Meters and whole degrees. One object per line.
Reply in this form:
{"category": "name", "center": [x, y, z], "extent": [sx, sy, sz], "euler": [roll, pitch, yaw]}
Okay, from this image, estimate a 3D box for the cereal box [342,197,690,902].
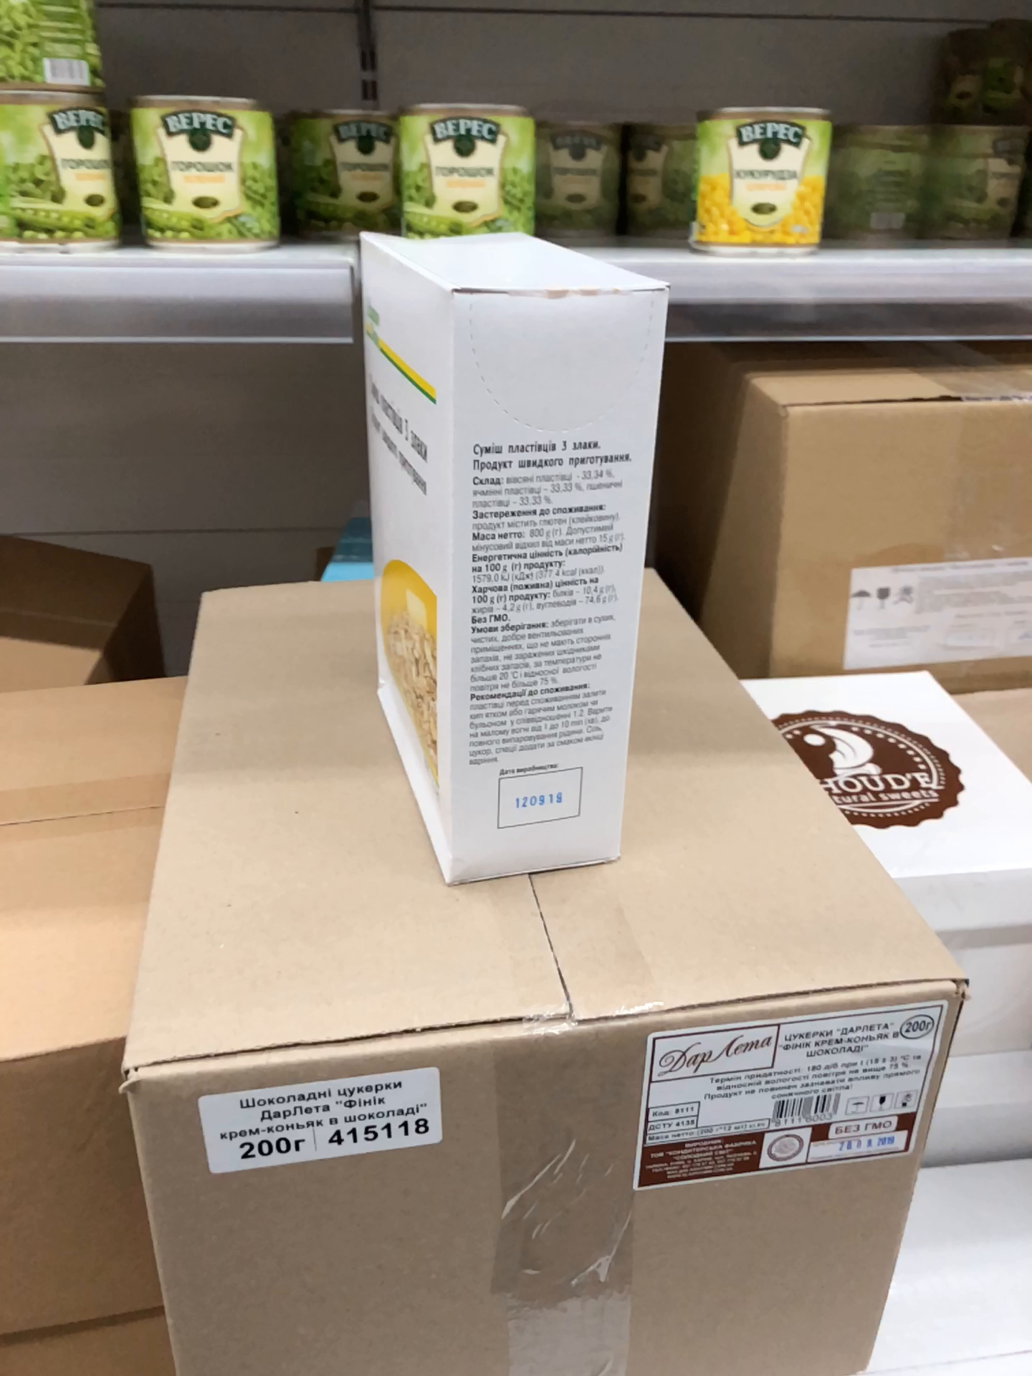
{"category": "cereal box", "center": [-0.012, -0.062, 0.423], "extent": [0.070, 0.209, 0.171], "euler": [-7, 28, -15]}
